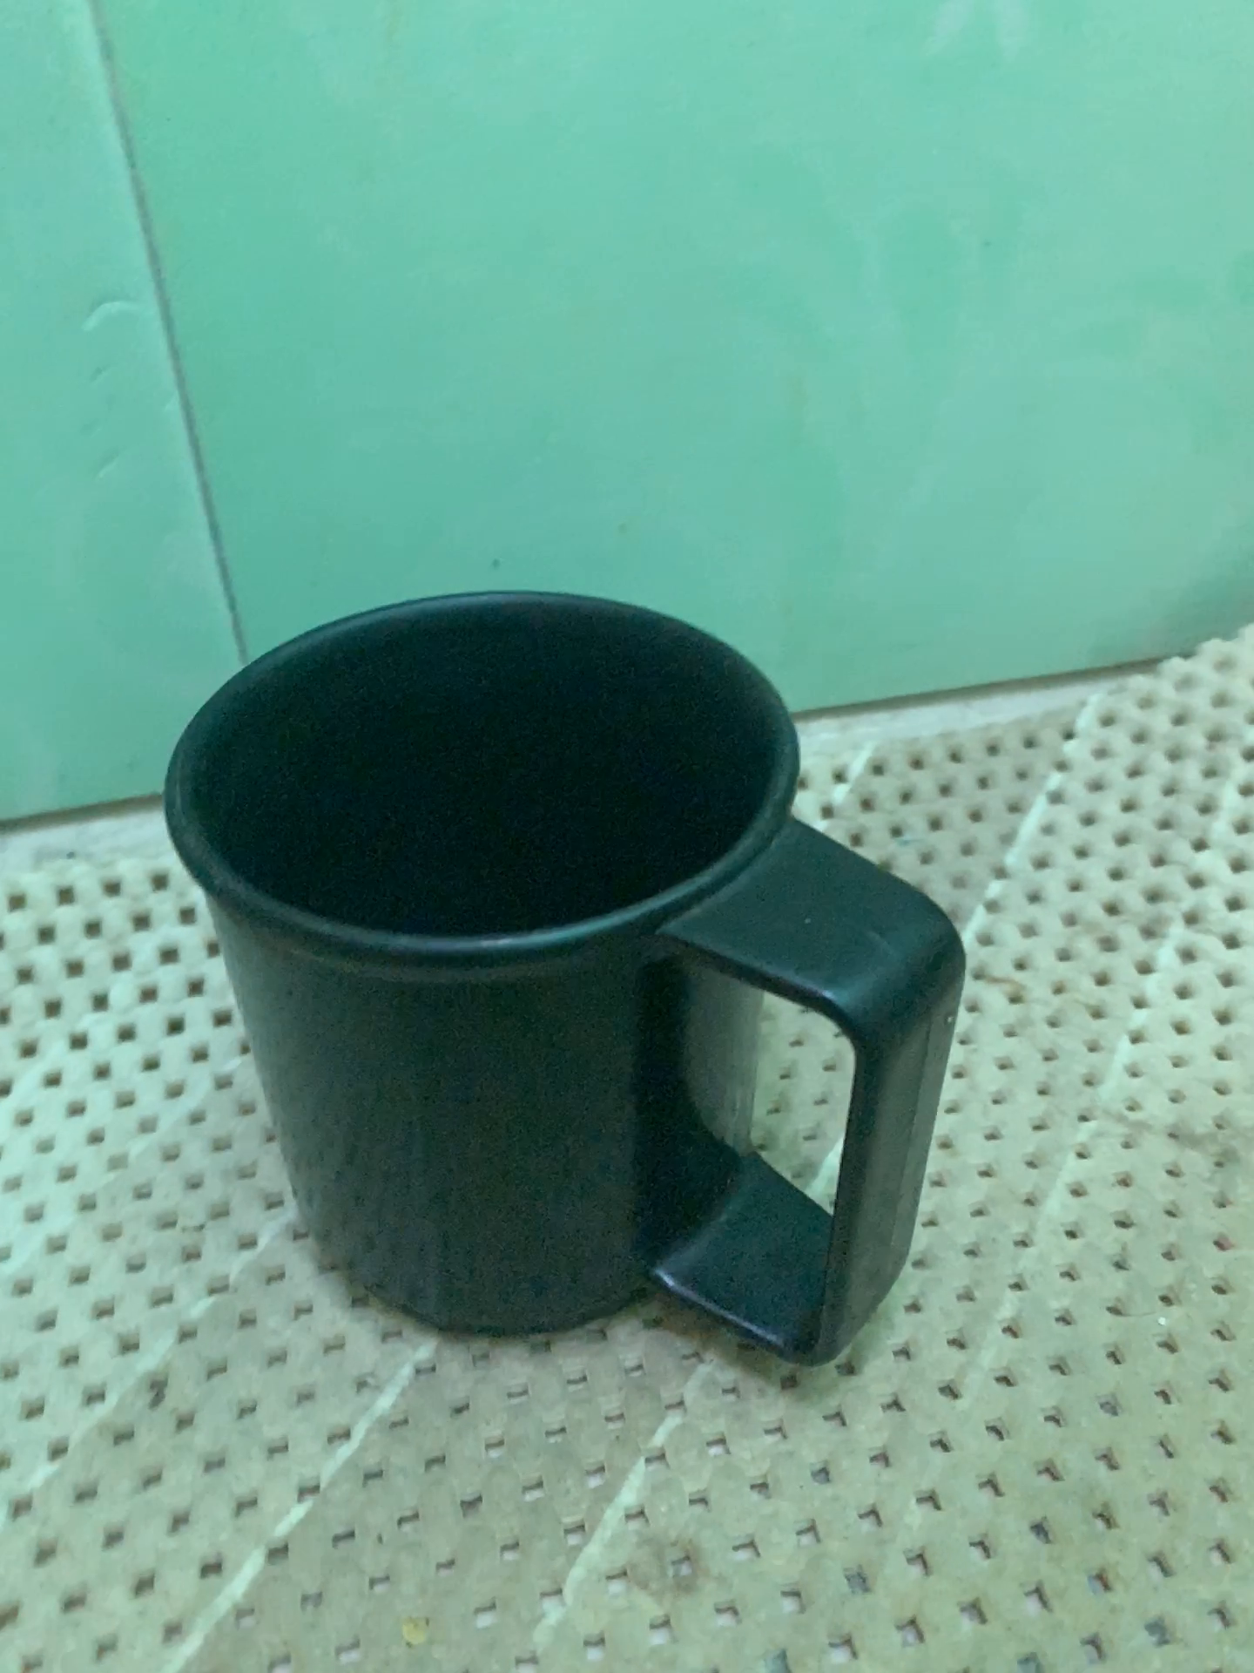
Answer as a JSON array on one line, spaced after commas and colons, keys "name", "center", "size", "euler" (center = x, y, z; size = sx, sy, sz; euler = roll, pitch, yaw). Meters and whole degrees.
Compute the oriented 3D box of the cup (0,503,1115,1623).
[{"name": "cup", "center": [-0.010, 0.019, 0.188], "size": [0.112, 0.082, 0.090], "euler": [25, 45, 31]}]
